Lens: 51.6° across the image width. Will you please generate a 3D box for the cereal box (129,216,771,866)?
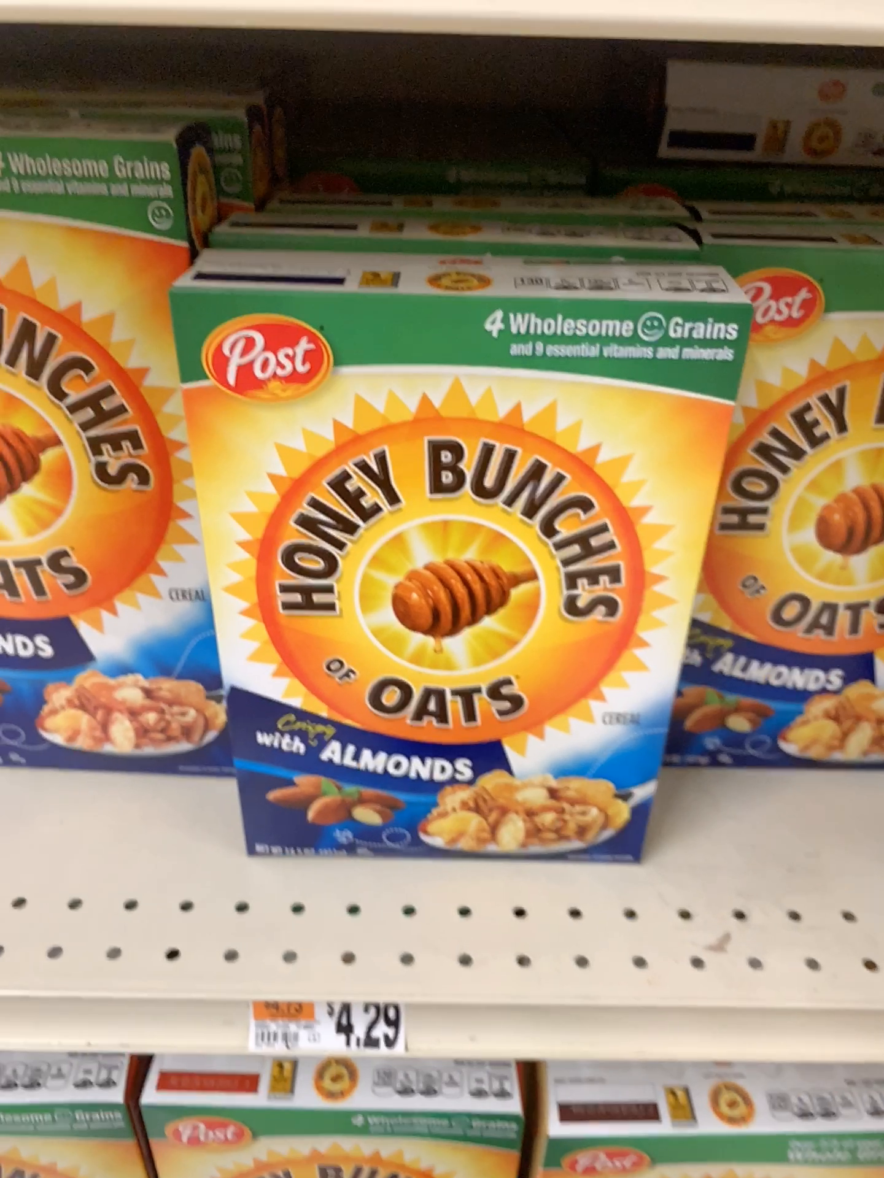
[{"bbox_3d":[0.000,-0.002,0.387,0.200,0.278,0.060,1,34,0],"label":"cereal box"}]
